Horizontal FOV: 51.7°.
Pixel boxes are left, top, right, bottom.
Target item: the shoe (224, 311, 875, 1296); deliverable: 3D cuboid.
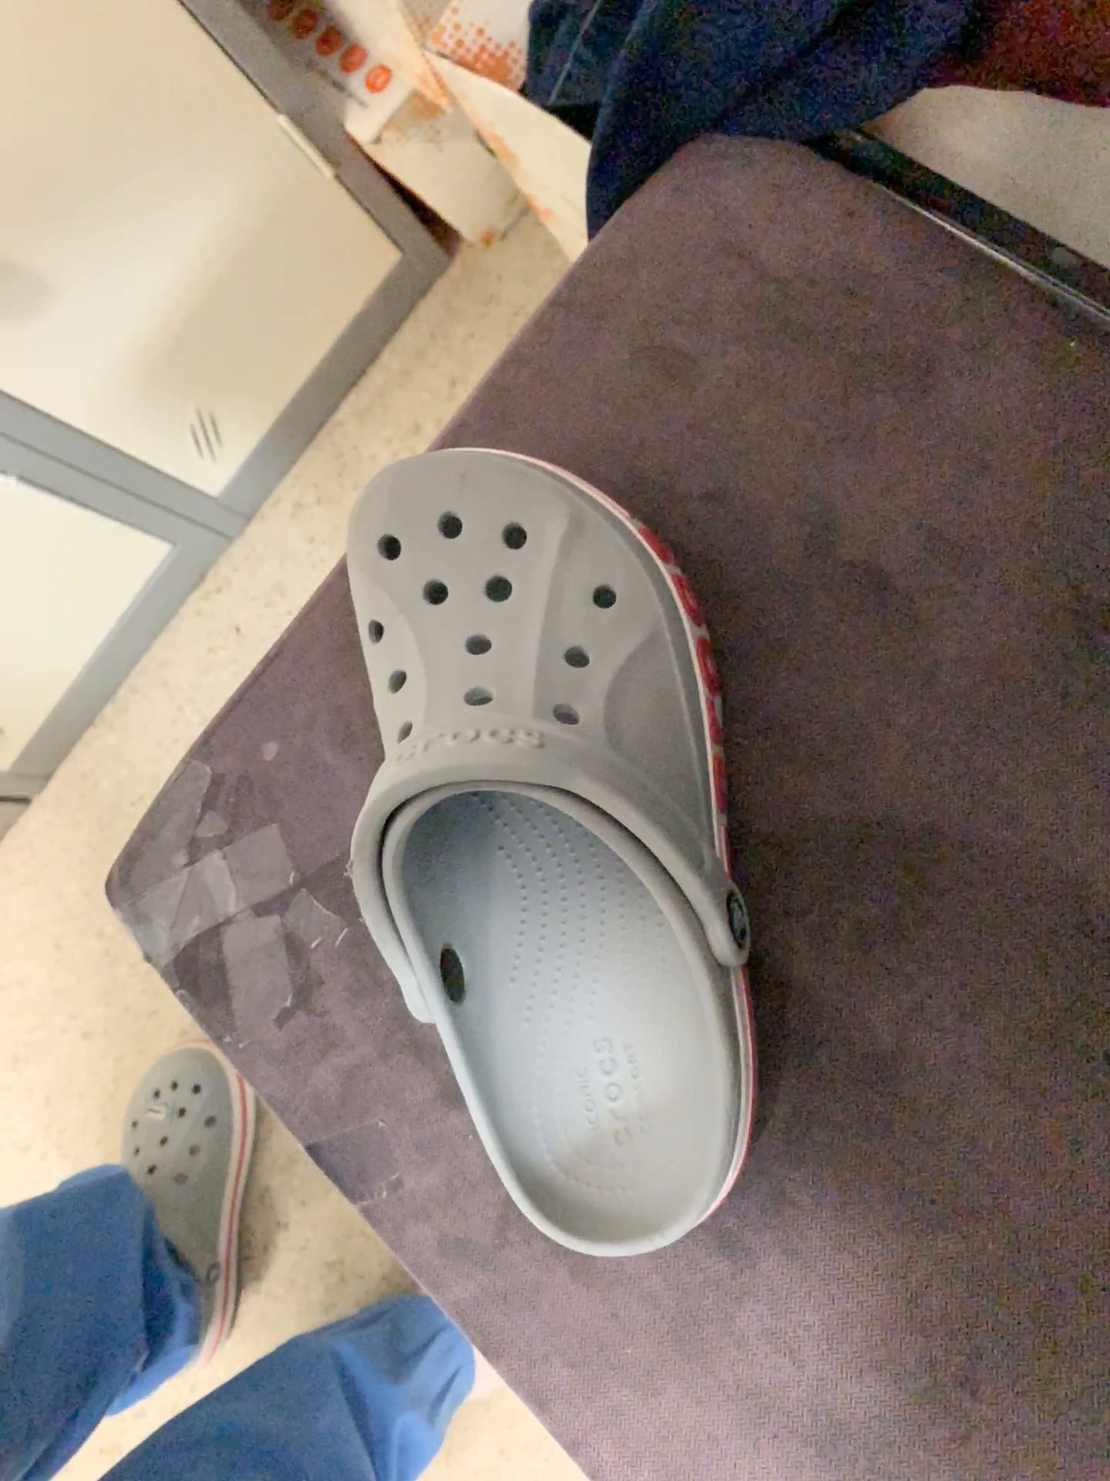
[{"bbox_3d":[-0.004,0.018,0.341,0.119,0.075,0.239,-19,78,17],"label":"shoe"}]
